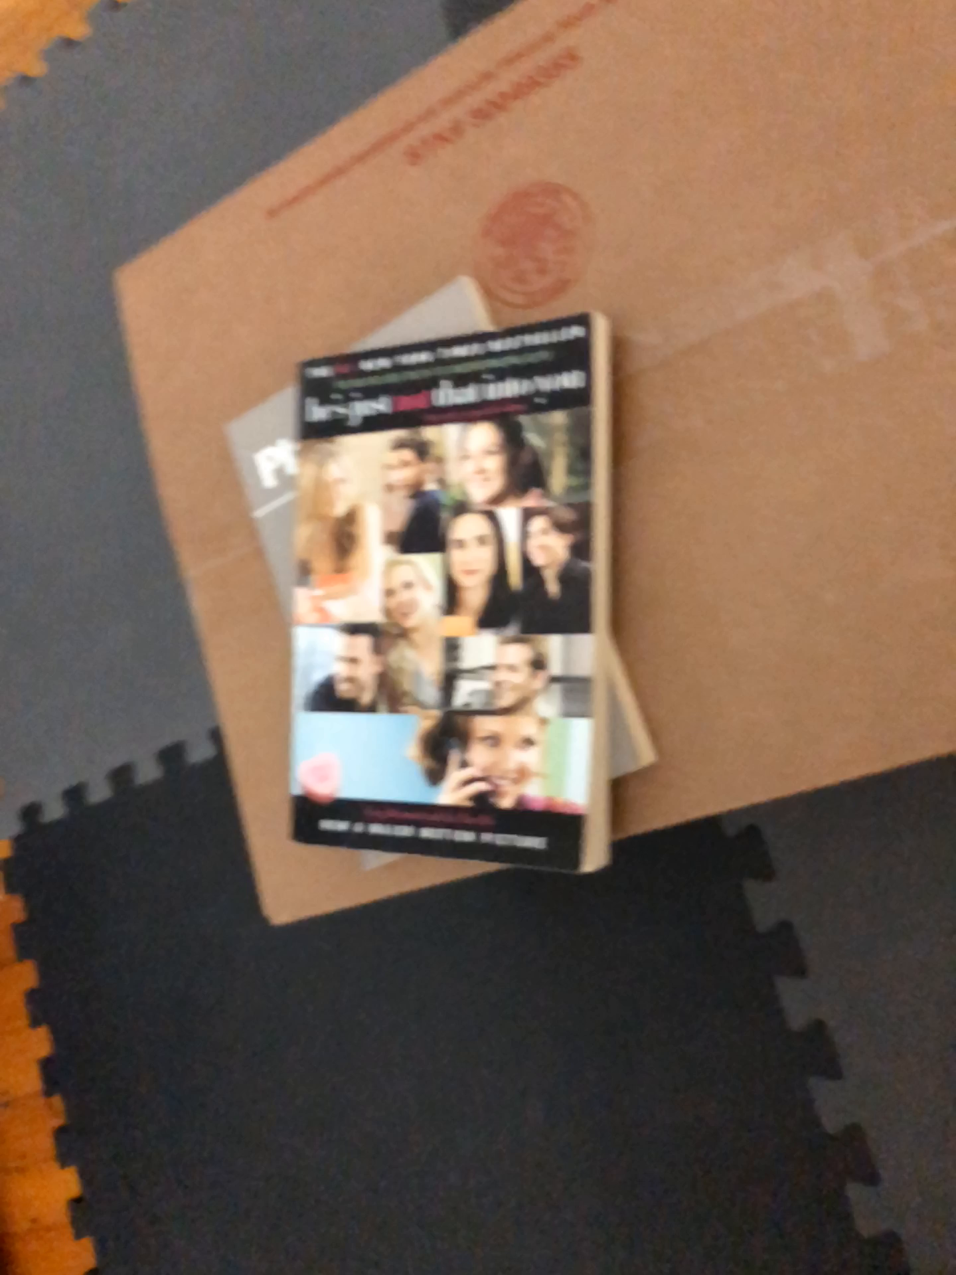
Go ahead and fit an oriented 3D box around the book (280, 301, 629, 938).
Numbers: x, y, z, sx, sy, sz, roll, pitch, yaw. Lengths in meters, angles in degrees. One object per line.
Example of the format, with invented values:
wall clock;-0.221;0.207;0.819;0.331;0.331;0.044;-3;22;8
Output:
book;-0.015;-0.005;0.424;0.150;0.010;0.230;-2;87;28
